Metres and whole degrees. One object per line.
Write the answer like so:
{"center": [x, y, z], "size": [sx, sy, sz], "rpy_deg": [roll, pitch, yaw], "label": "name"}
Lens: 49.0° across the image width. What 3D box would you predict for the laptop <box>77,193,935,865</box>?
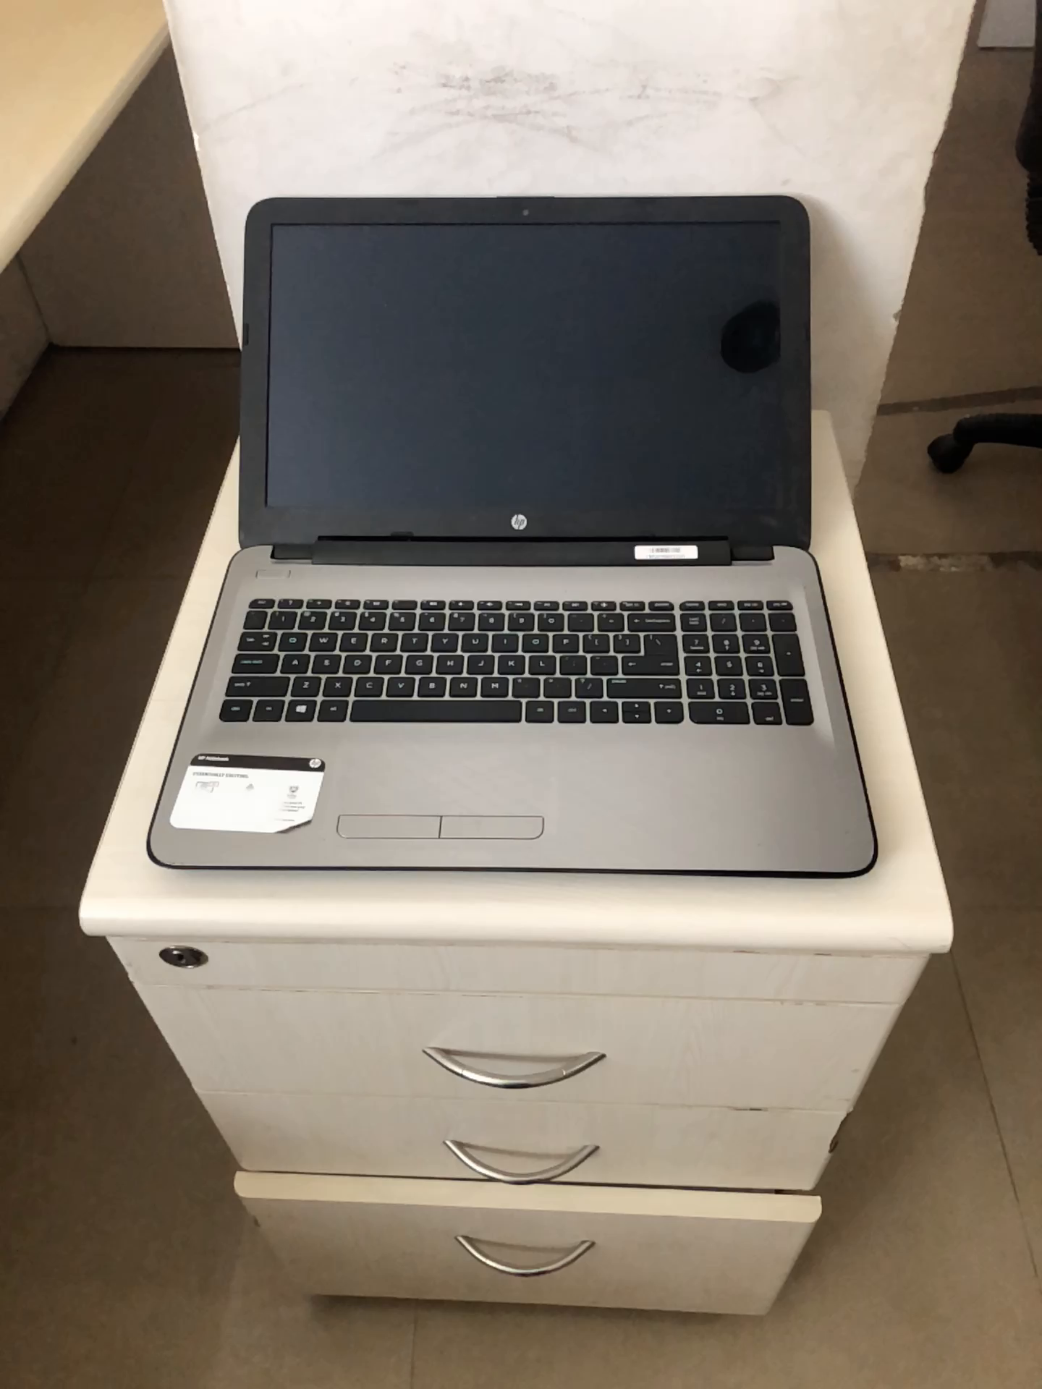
{"center": [-0.001, -0.123, 0.670], "size": [0.361, 0.136, 0.427], "rpy_deg": [0, 49, 2], "label": "laptop"}
